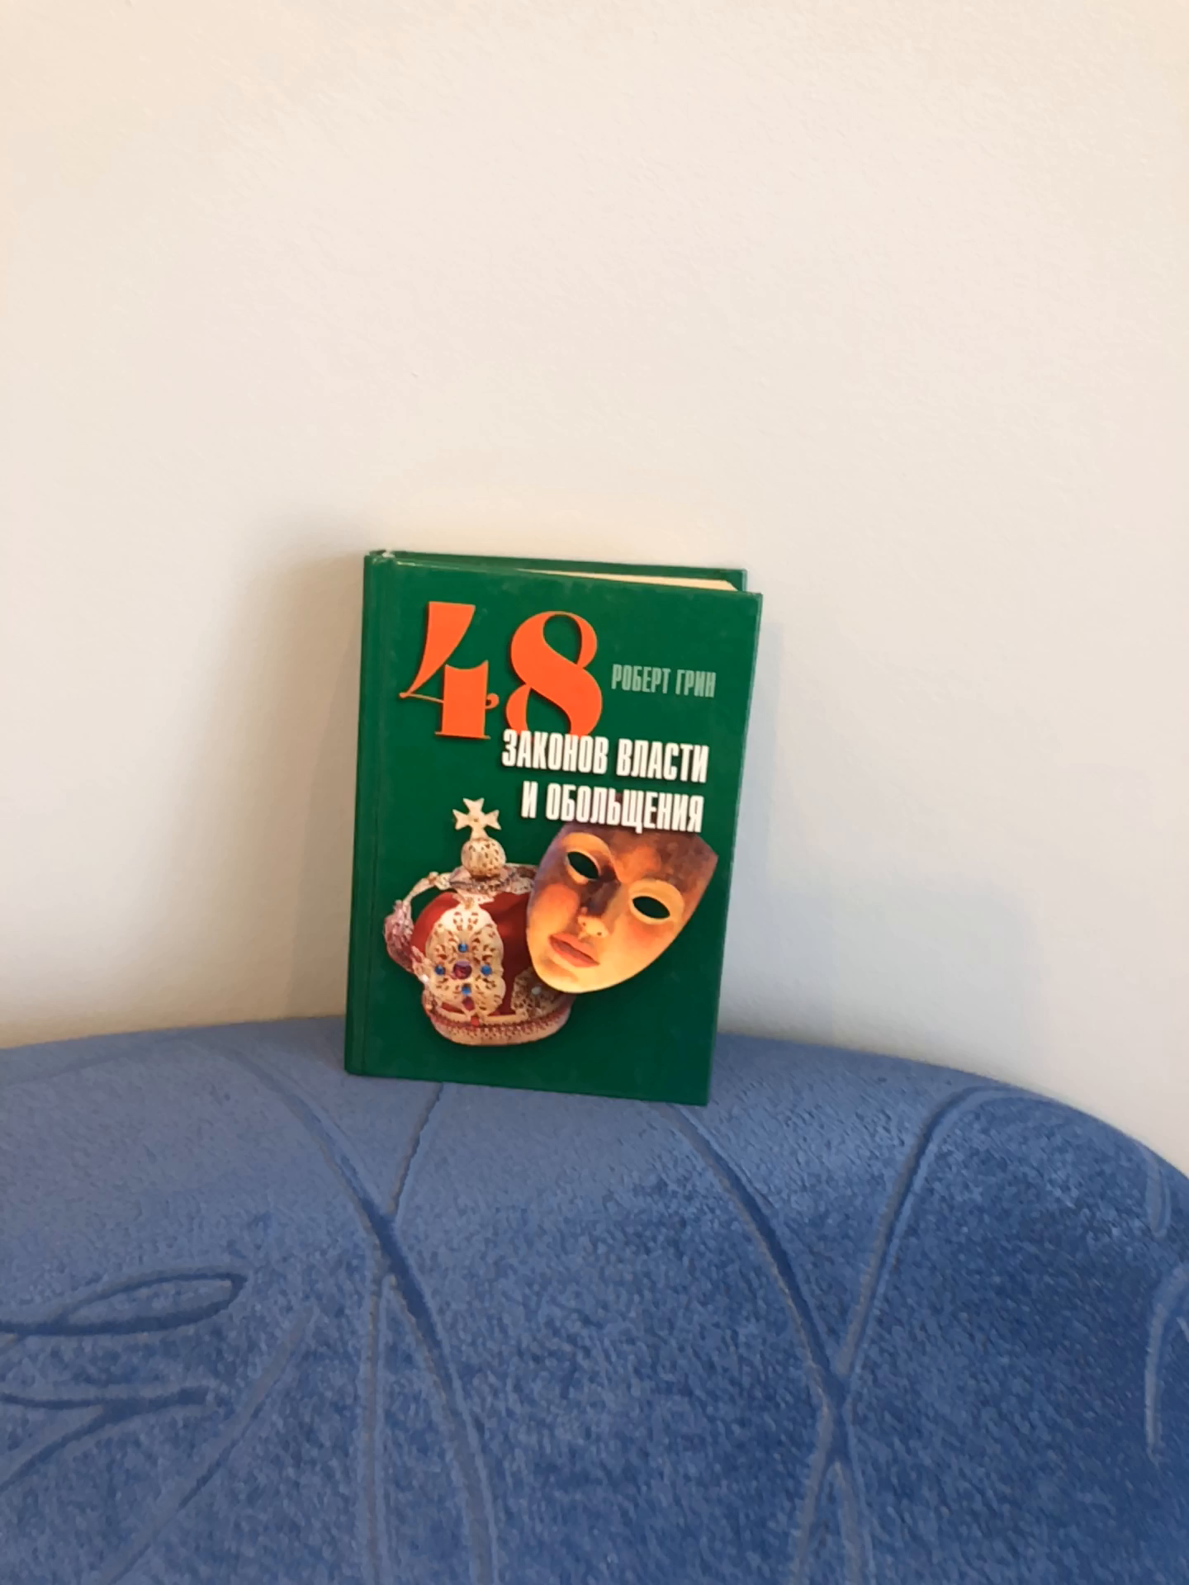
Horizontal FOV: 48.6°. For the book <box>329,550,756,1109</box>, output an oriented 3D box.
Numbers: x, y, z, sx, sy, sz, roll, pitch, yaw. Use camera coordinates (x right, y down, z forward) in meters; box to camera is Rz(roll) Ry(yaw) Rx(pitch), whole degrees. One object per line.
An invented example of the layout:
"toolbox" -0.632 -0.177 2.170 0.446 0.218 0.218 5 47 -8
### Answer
"book" -0.014 0.008 0.369 0.106 0.141 0.050 4 13 4
